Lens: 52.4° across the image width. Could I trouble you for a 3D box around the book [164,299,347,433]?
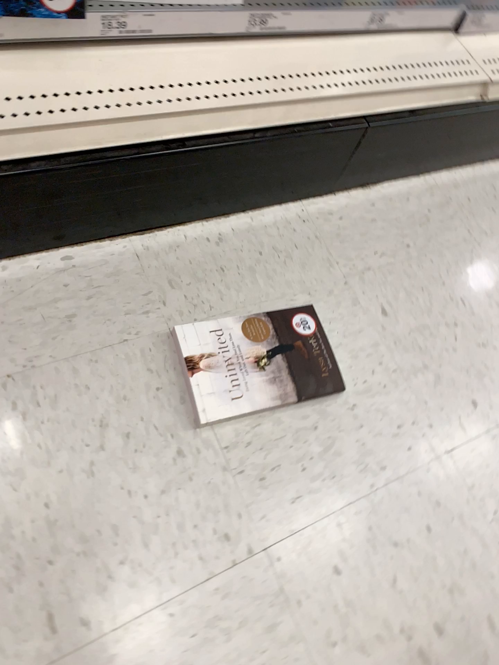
[{"bbox_3d":[0.008,0.038,0.677,0.210,0.030,0.140,-10,67,-22],"label":"book"}]
